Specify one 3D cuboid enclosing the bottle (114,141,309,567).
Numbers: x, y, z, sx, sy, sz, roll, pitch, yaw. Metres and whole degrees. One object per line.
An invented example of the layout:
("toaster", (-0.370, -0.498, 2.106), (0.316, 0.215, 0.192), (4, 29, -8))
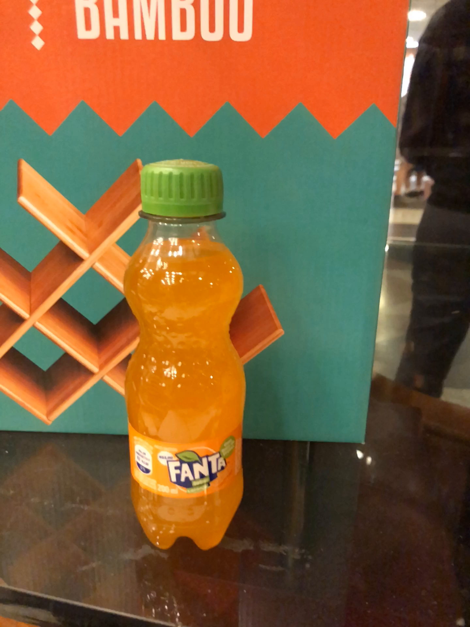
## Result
("bottle", (-0.010, 0.014, 0.214), (0.060, 0.159, 0.060), (0, 19, 0))
